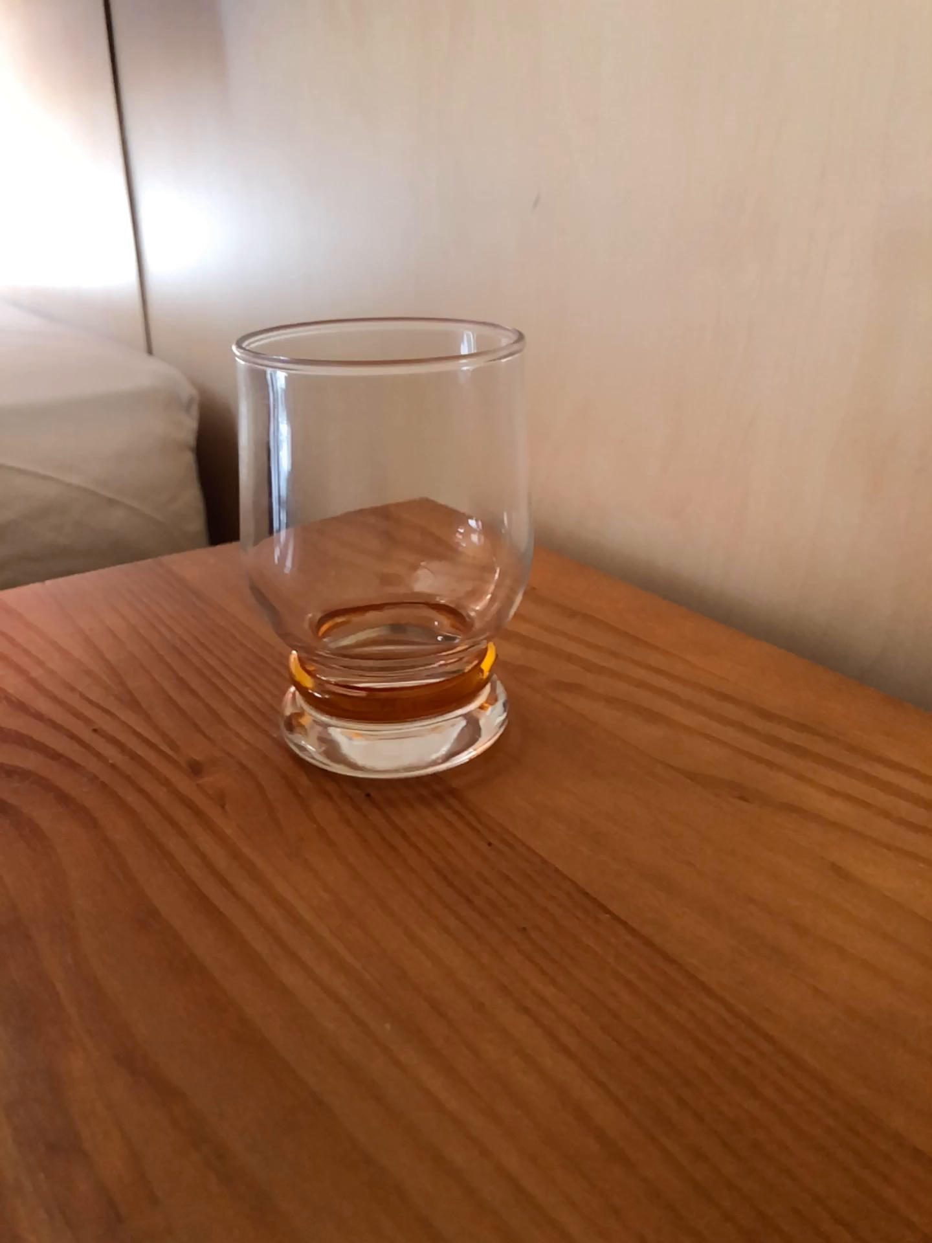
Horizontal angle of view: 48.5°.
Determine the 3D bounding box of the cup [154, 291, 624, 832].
[{"bbox_3d":[-0.014,-0.022,0.249,0.073,0.099,0.076,0,24,0],"label":"cup"}]
